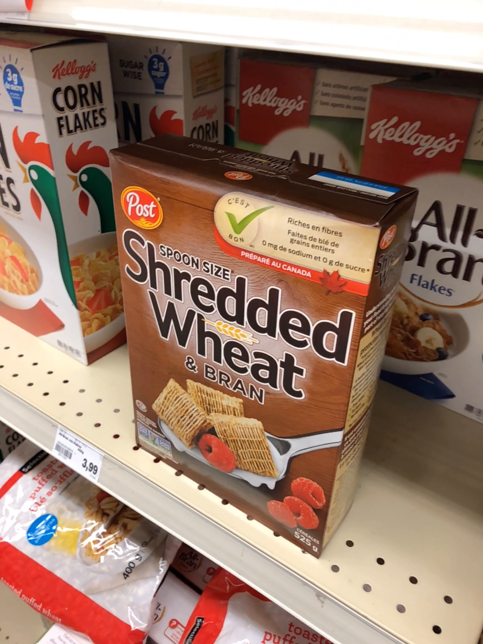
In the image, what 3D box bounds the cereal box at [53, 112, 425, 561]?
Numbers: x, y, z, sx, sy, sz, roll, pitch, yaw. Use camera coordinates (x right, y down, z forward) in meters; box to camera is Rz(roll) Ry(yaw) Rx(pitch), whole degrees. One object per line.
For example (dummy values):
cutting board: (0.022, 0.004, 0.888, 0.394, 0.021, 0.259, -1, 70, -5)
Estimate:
cereal box: (-0.013, 0.006, 0.369, 0.211, 0.248, 0.070, 22, 38, 30)
